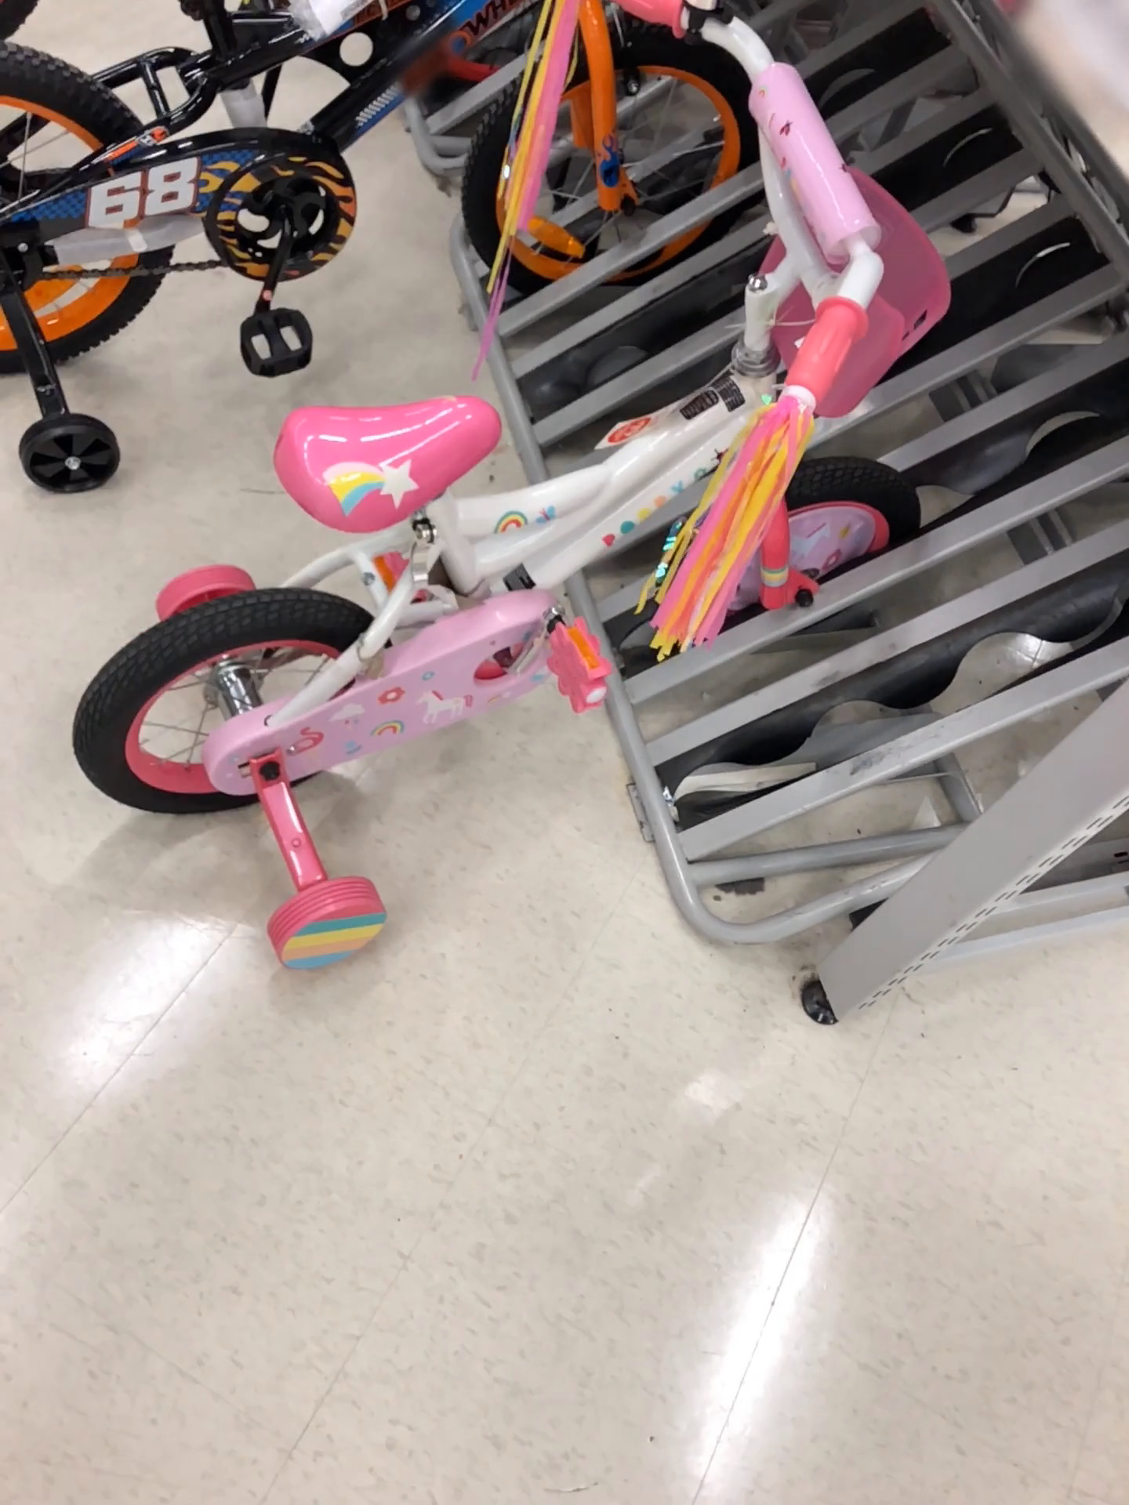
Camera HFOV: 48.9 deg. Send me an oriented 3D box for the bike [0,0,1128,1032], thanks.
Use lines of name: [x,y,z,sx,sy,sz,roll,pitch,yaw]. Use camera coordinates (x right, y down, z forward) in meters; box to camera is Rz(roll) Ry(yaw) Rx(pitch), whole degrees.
bike: [0.037,-0.253,1.086,0.944,0.592,0.517,-17,65,-23]
